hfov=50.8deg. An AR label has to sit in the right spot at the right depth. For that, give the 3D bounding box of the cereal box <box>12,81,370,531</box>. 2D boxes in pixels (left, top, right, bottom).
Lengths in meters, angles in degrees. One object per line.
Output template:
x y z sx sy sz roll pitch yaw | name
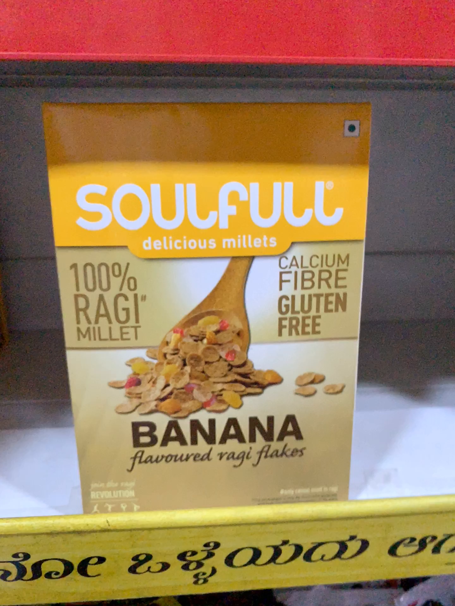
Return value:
-0.015 0.004 0.271 0.160 0.229 0.060 -2 14 -5 | cereal box
